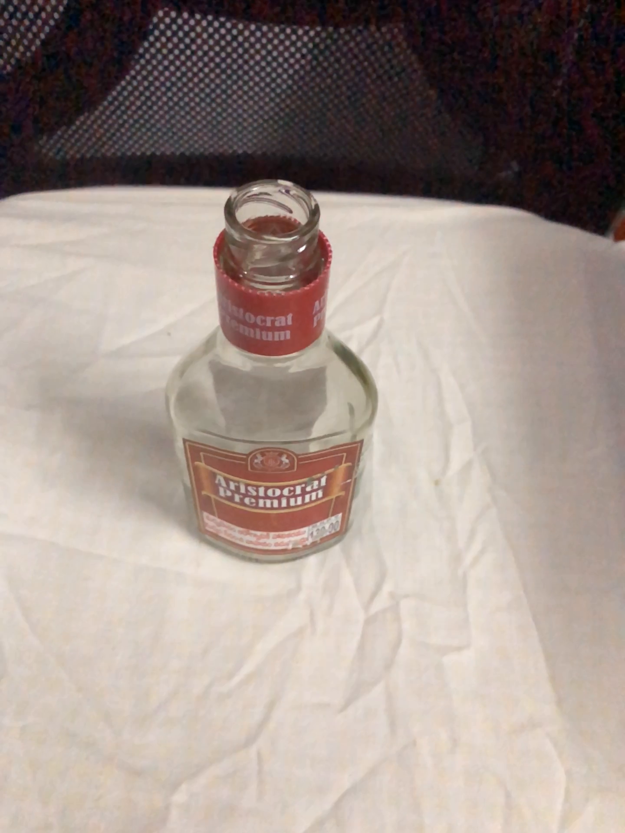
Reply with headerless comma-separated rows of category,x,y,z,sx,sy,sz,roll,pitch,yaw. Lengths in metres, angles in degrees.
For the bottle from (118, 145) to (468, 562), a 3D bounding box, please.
bottle,-0.011,-0.002,0.246,0.080,0.179,0.040,1,56,-4
